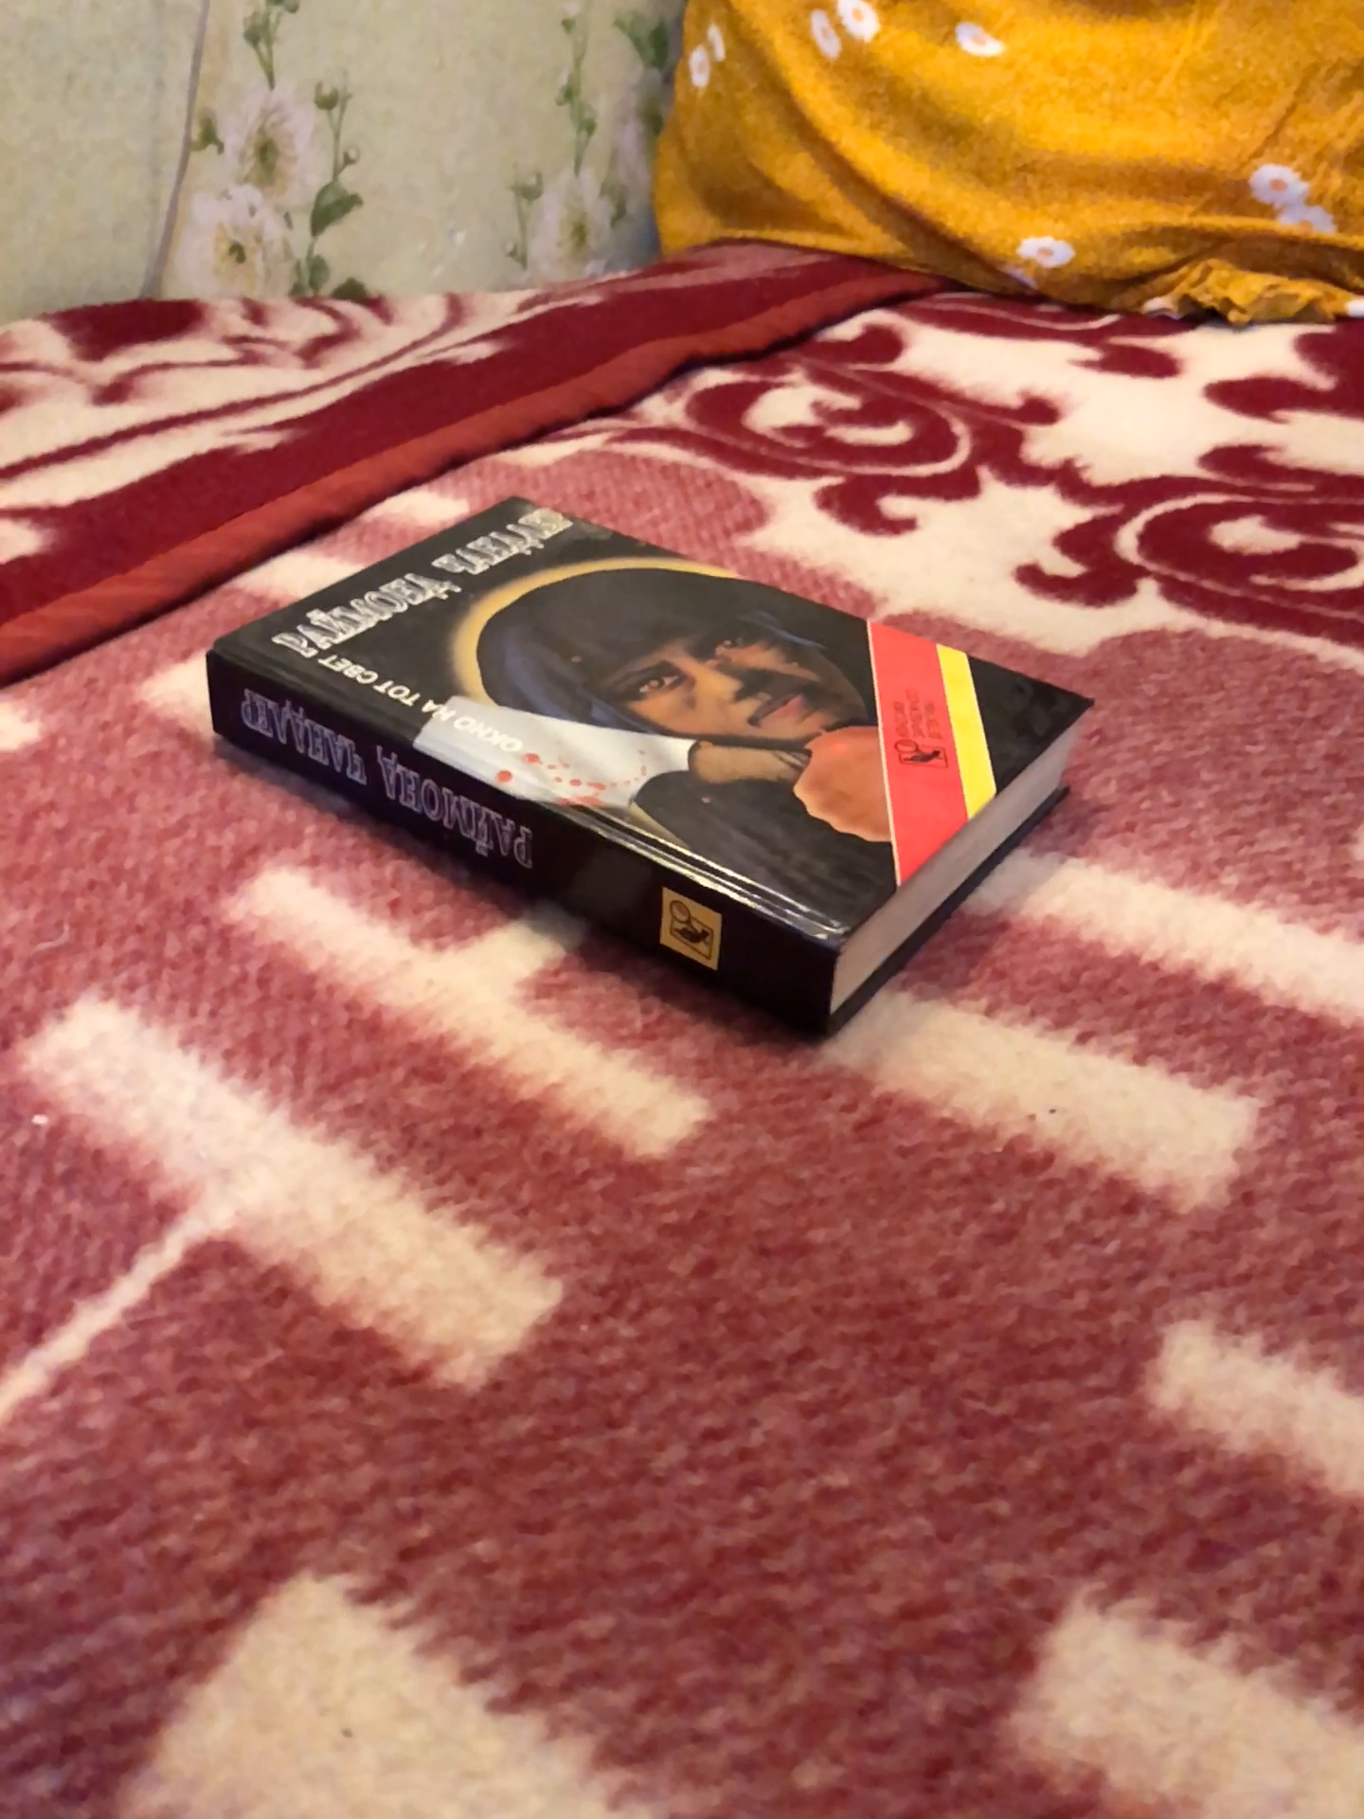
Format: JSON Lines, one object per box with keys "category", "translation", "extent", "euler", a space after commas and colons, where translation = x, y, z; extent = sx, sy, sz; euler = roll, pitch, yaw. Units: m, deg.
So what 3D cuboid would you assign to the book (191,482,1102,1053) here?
{"category": "book", "translation": [-0.011, -0.054, 0.419], "extent": [0.209, 0.032, 0.134], "euler": [26, 44, 26]}
